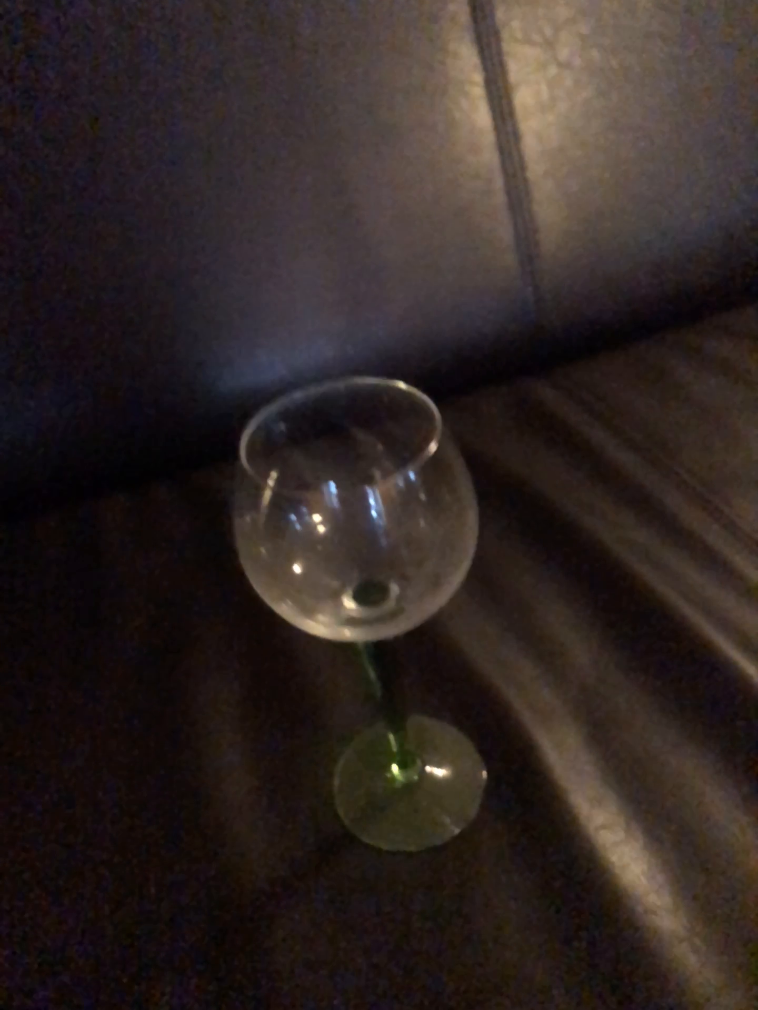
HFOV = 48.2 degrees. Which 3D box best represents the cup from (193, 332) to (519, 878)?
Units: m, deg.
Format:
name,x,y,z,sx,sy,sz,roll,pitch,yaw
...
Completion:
name,x,y,z,sx,sy,sz,roll,pitch,yaw
cup,-0.004,0.044,0.317,0.080,0.185,0.080,-7,37,5
